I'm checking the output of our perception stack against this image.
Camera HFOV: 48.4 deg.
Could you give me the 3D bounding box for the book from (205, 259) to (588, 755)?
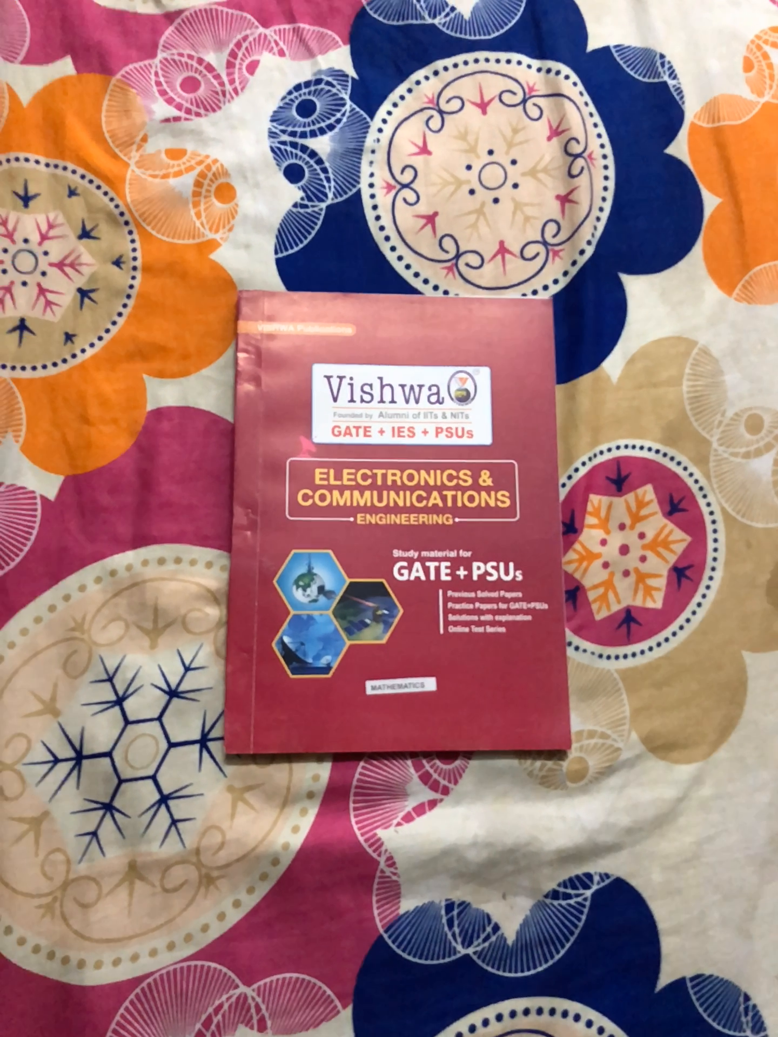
[{"bbox_3d":[0.004,-0.011,0.534,0.217,0.030,0.300,1,78,-5],"label":"book"}]
